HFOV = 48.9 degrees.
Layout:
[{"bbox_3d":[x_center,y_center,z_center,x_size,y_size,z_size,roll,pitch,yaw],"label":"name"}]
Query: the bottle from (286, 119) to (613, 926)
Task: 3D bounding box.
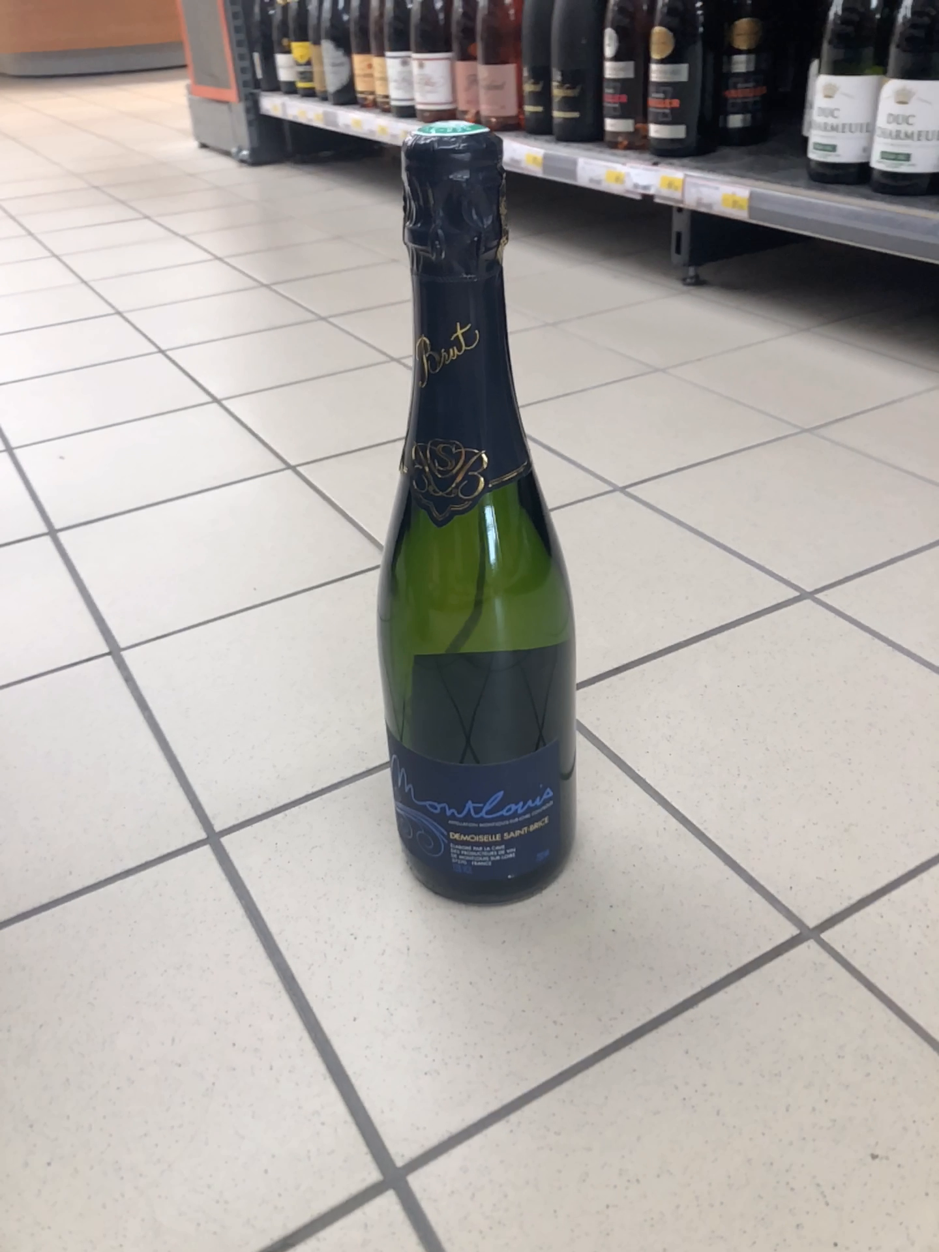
[{"bbox_3d":[0.006,-0.027,0.417,0.090,0.308,0.091,-3,31,2],"label":"bottle"}]
